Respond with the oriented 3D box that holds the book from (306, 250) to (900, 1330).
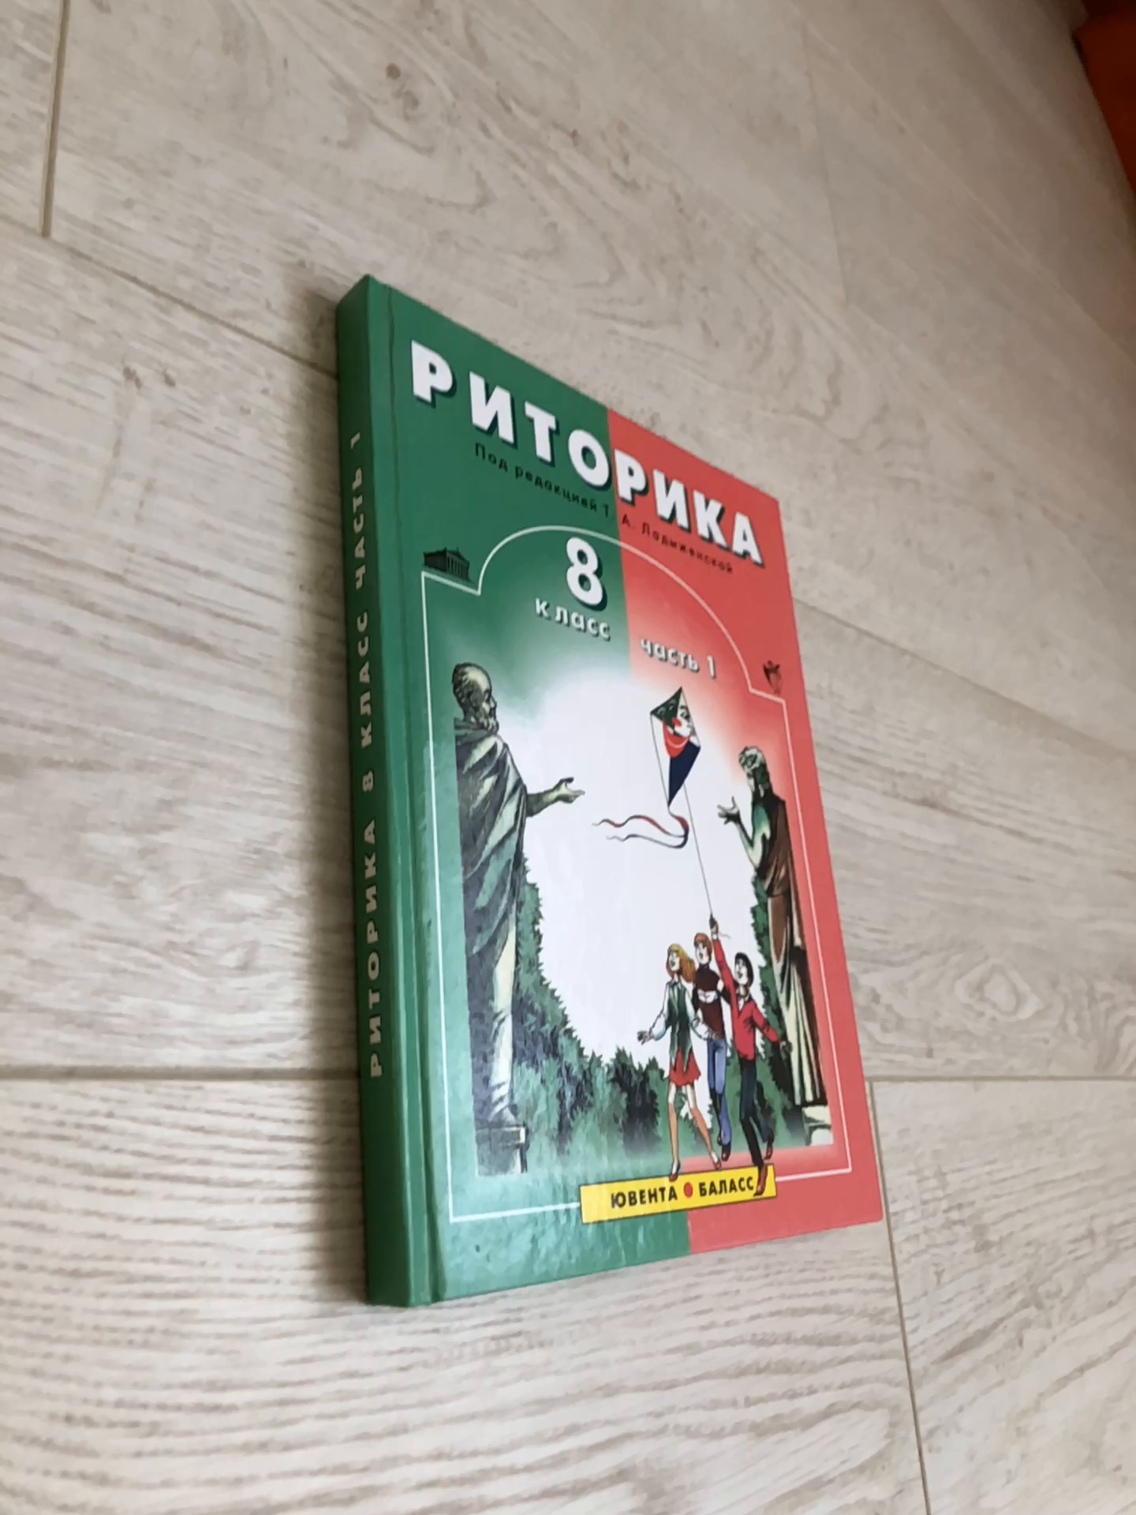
[{"bbox_3d":[0.014,0.008,0.316,0.171,0.020,0.223,13,65,-46],"label":"book"}]
